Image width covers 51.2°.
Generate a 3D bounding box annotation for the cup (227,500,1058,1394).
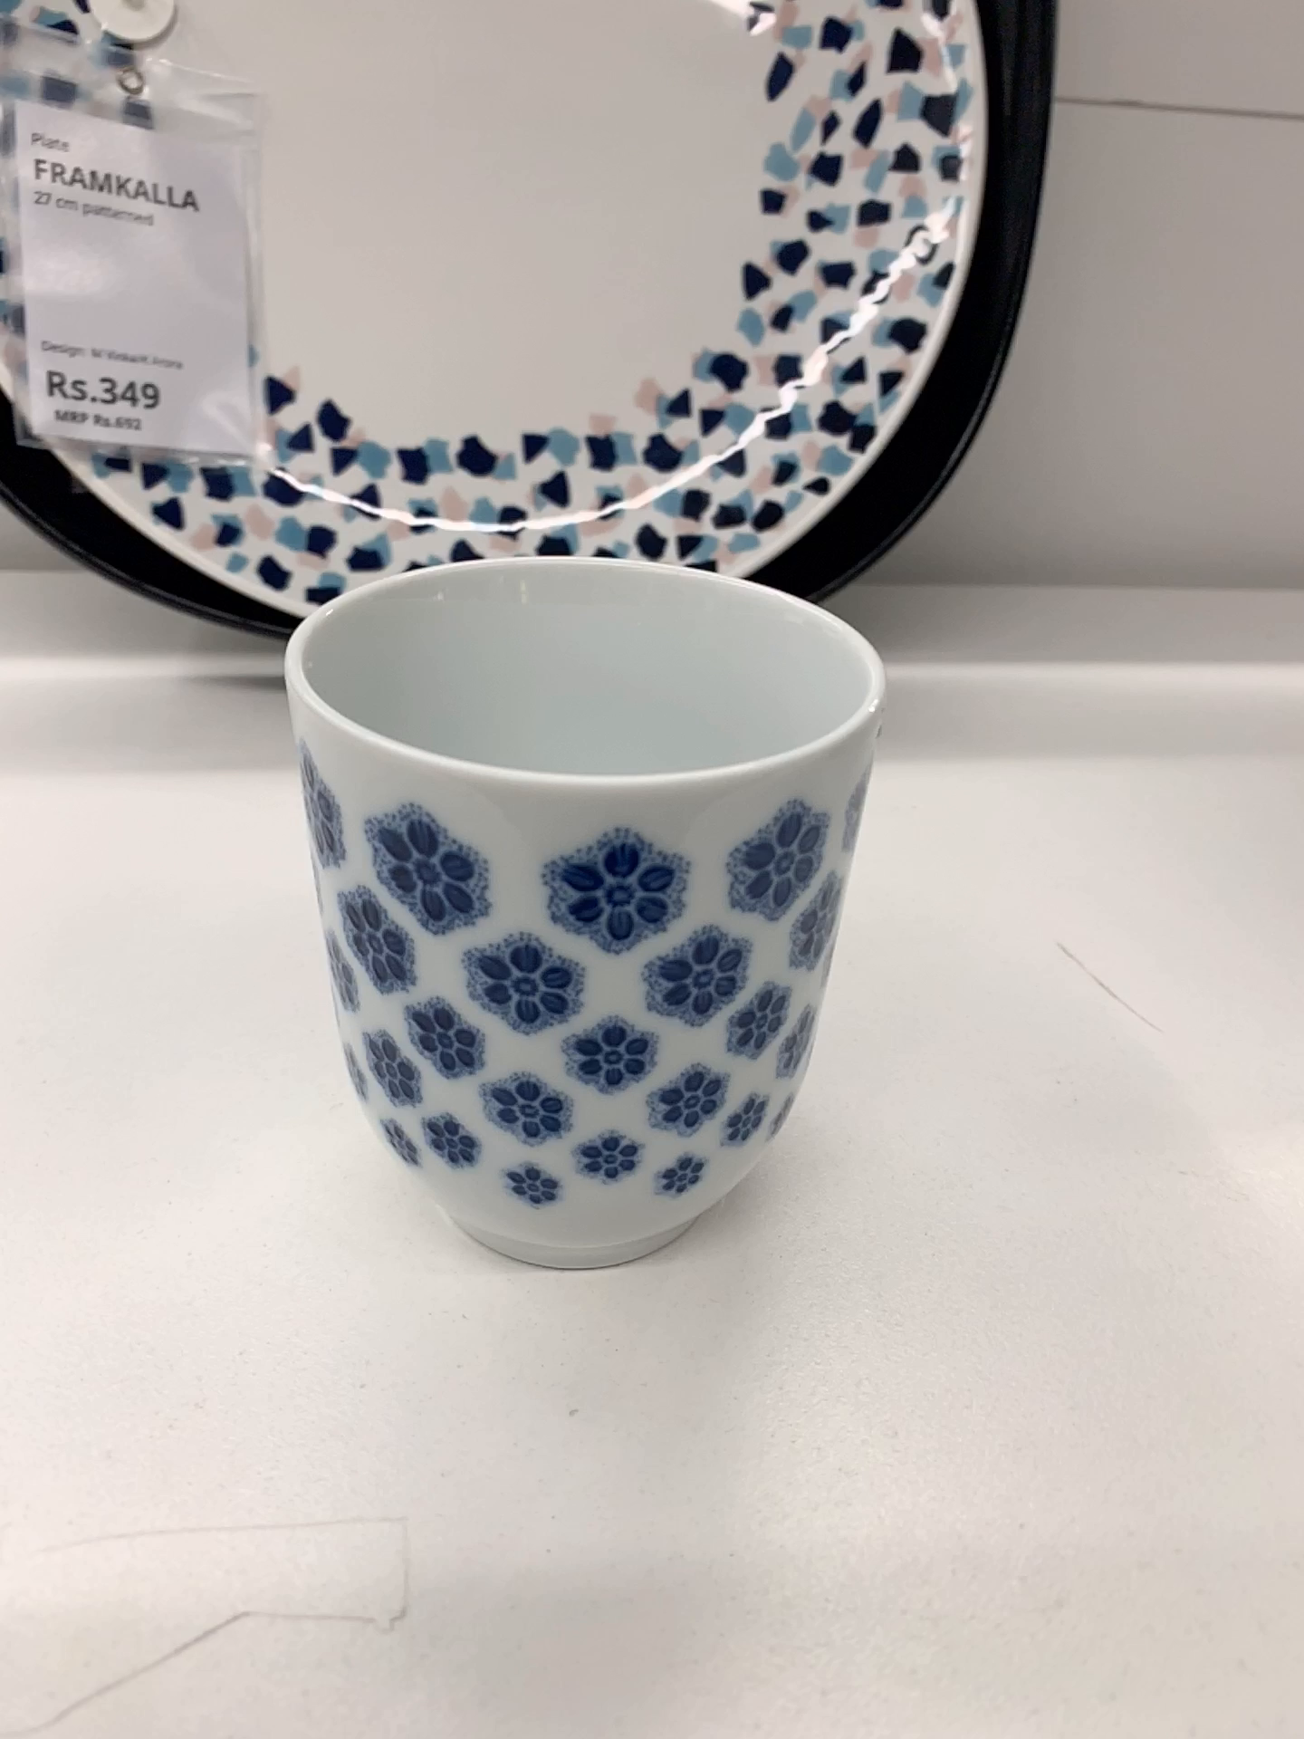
[{"bbox_3d":[-0.006,0.002,0.188,0.070,0.080,0.080,-17,34,-33],"label":"cup"}]
